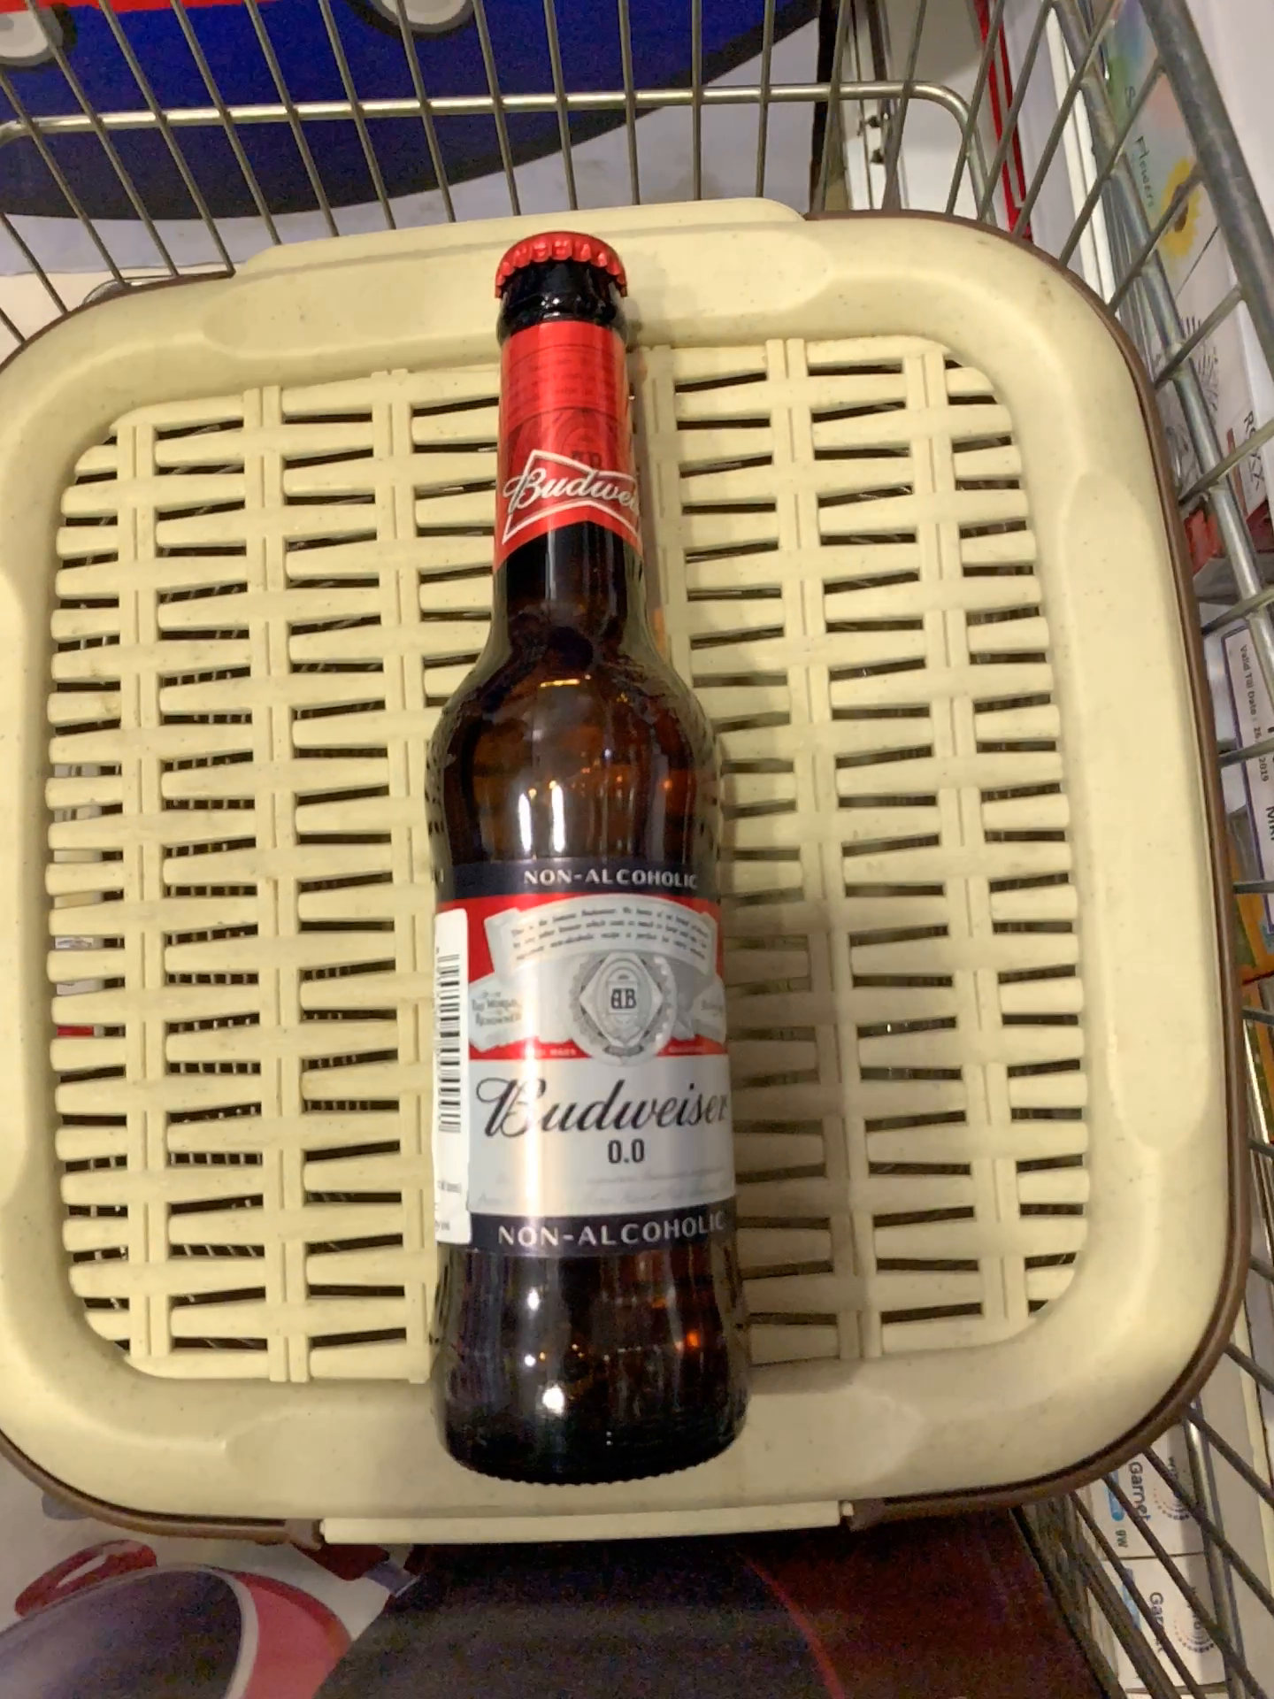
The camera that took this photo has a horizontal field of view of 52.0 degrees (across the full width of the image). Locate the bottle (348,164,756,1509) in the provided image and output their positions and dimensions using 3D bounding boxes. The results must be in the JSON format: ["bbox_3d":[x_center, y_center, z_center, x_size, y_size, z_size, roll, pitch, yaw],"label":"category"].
[{"bbox_3d":[-0.021,-0.005,0.248,0.060,0.060,0.220,-1,83,-14],"label":"bottle"}]
